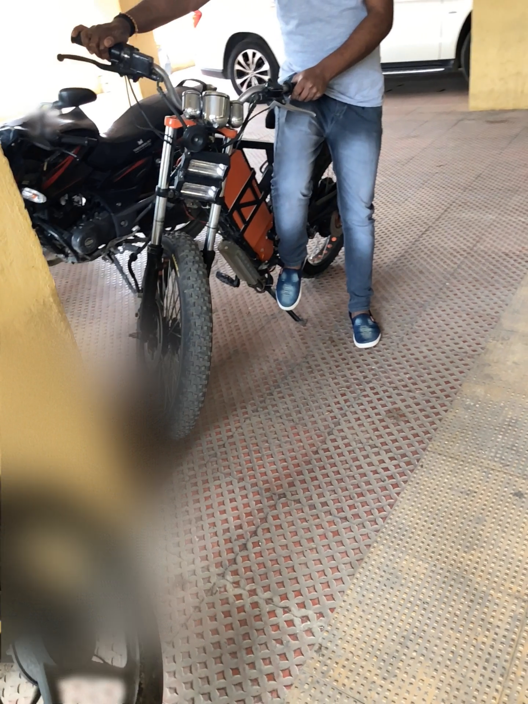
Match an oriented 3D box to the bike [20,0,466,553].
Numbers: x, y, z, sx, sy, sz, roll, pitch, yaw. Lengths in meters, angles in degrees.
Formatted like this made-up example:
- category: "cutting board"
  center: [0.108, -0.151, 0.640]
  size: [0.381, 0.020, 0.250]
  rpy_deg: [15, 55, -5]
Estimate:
- category: "bike"
  center: [0.176, -0.518, 2.142]
  size: [0.753, 1.184, 1.759]
  rpy_deg: [8, 40, 27]
